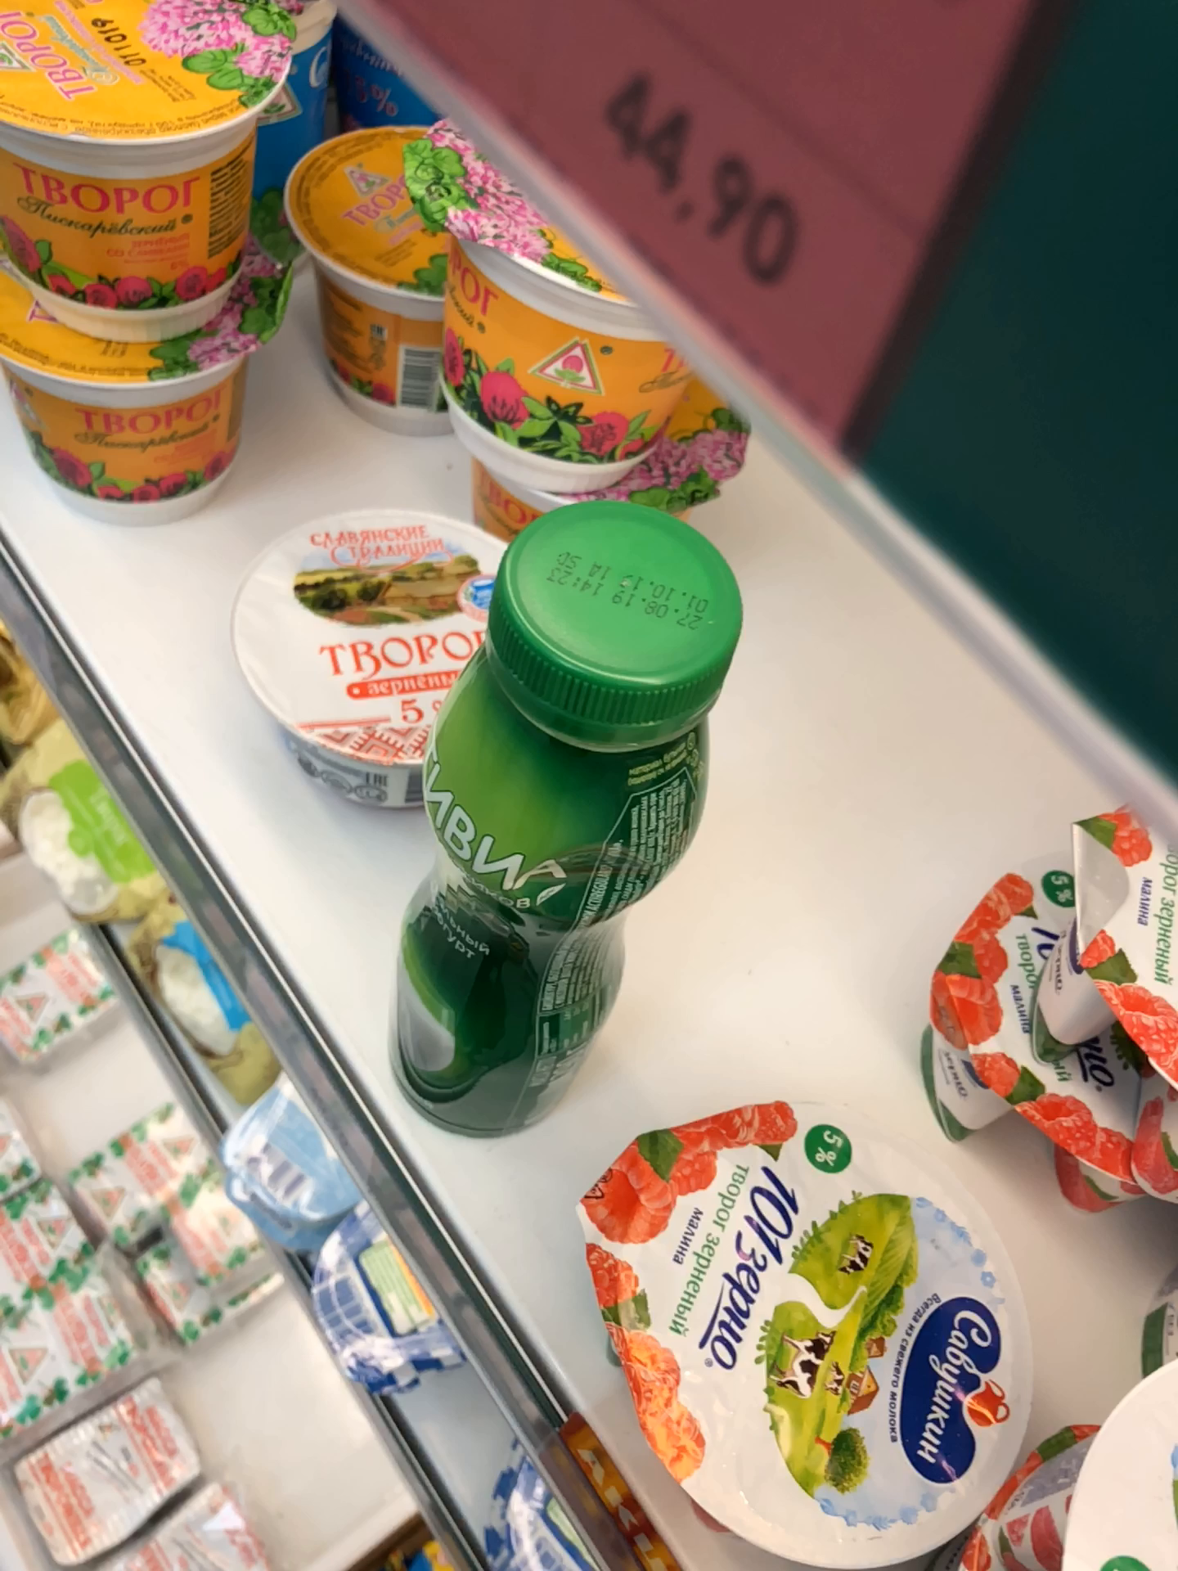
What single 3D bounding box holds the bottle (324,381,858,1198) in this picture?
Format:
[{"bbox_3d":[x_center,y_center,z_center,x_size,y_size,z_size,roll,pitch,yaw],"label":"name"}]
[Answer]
[{"bbox_3d":[-0.017,0.017,0.277,0.060,0.189,0.070,-15,61,-20],"label":"bottle"}]
